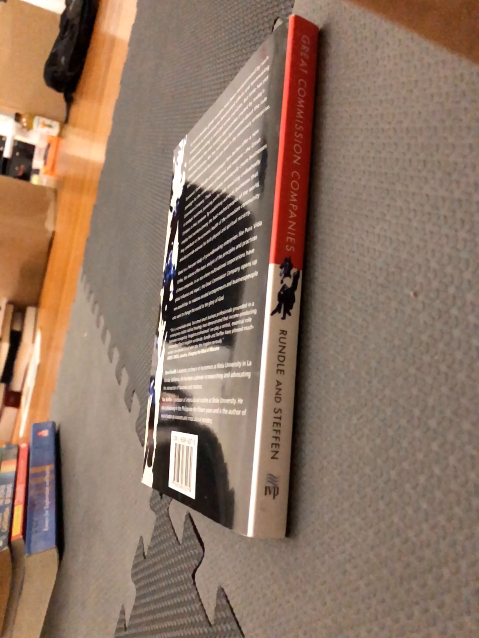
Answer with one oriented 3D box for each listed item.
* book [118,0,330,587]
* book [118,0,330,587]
[{"bbox_3d":[-0.016,-0.017,0.259,0.151,0.020,0.230,-18,64,63],"label":"book"},{"bbox_3d":[-0.016,-0.017,0.259,0.151,0.020,0.230,-18,64,63],"label":"book"}]
